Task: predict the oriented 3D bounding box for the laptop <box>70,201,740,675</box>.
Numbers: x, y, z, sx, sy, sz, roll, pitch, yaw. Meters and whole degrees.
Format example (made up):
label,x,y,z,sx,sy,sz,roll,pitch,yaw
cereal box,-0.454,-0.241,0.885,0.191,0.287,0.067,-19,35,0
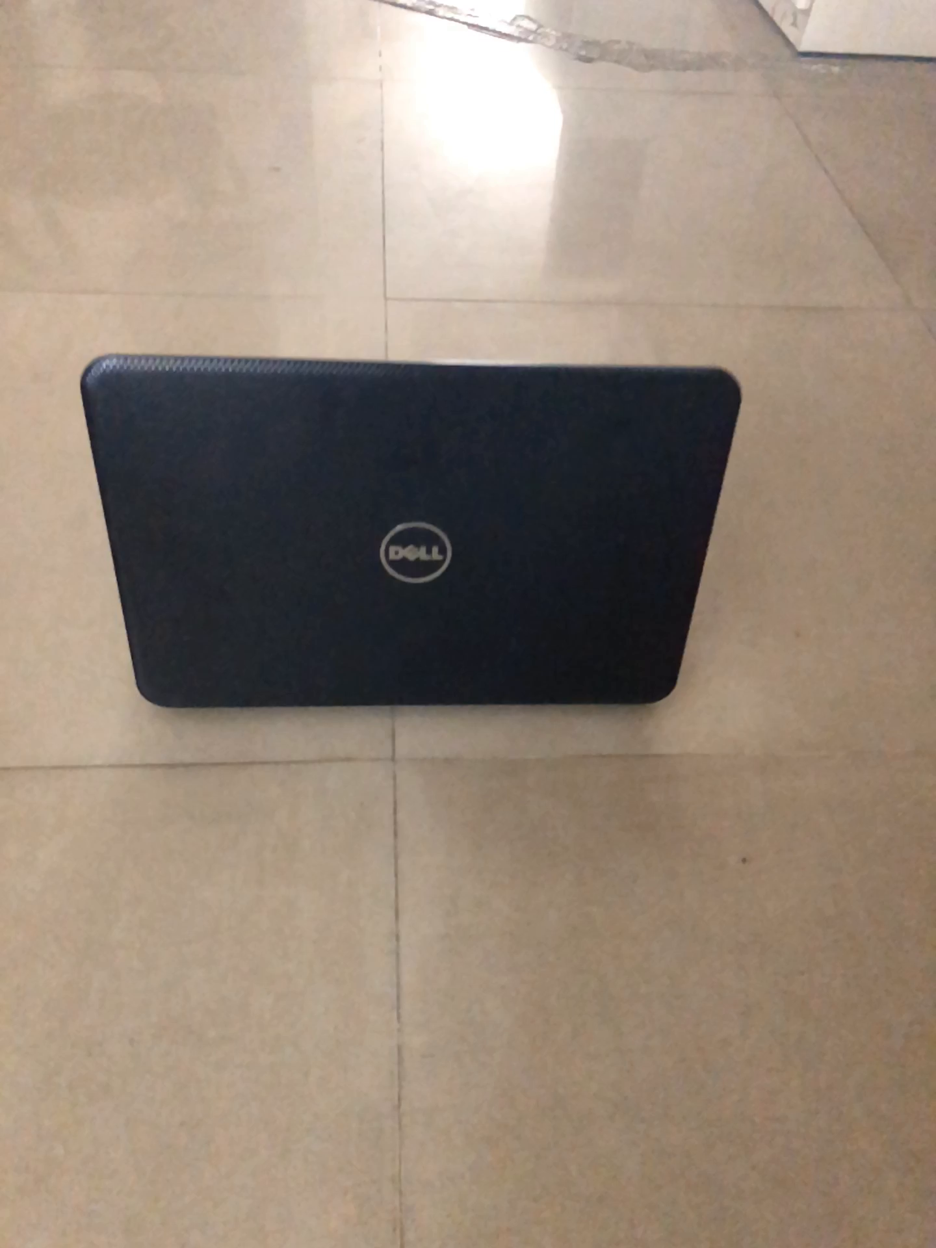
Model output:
label,x,y,z,sx,sy,sz,roll,pitch,yaw
laptop,-0.041,-0.128,0.712,0.351,0.226,0.249,0,46,-5
